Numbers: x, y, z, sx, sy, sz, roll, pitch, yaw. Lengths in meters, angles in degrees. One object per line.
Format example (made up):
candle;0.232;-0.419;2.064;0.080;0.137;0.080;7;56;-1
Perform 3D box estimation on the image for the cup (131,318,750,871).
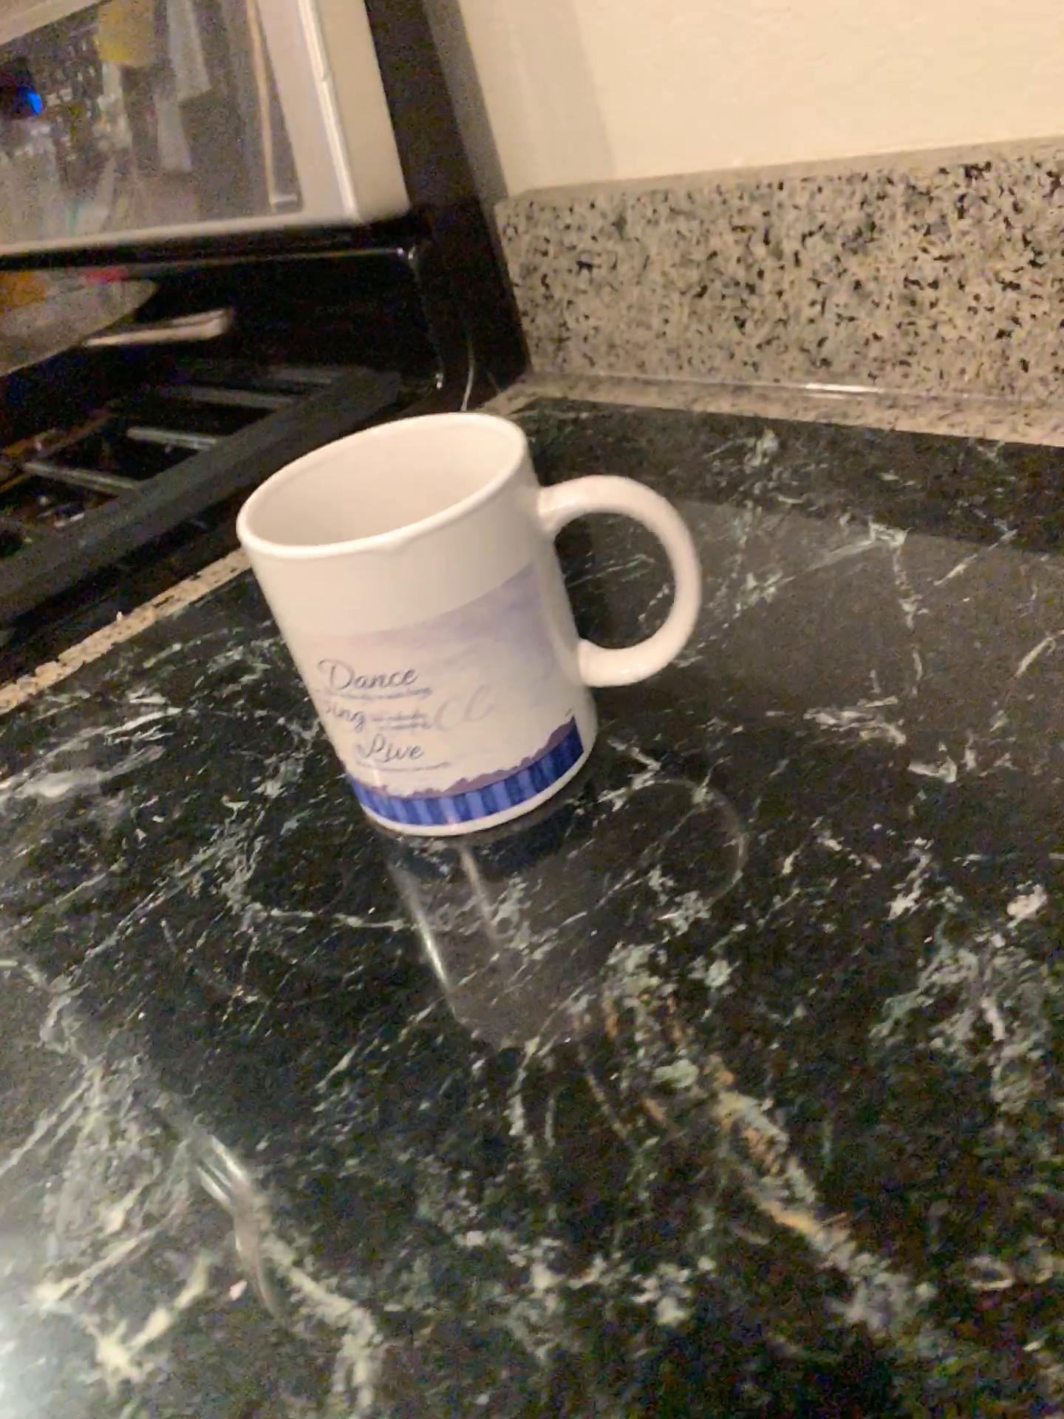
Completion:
cup;-0.017;-0.032;0.310;0.130;0.099;0.091;-11;33;9
